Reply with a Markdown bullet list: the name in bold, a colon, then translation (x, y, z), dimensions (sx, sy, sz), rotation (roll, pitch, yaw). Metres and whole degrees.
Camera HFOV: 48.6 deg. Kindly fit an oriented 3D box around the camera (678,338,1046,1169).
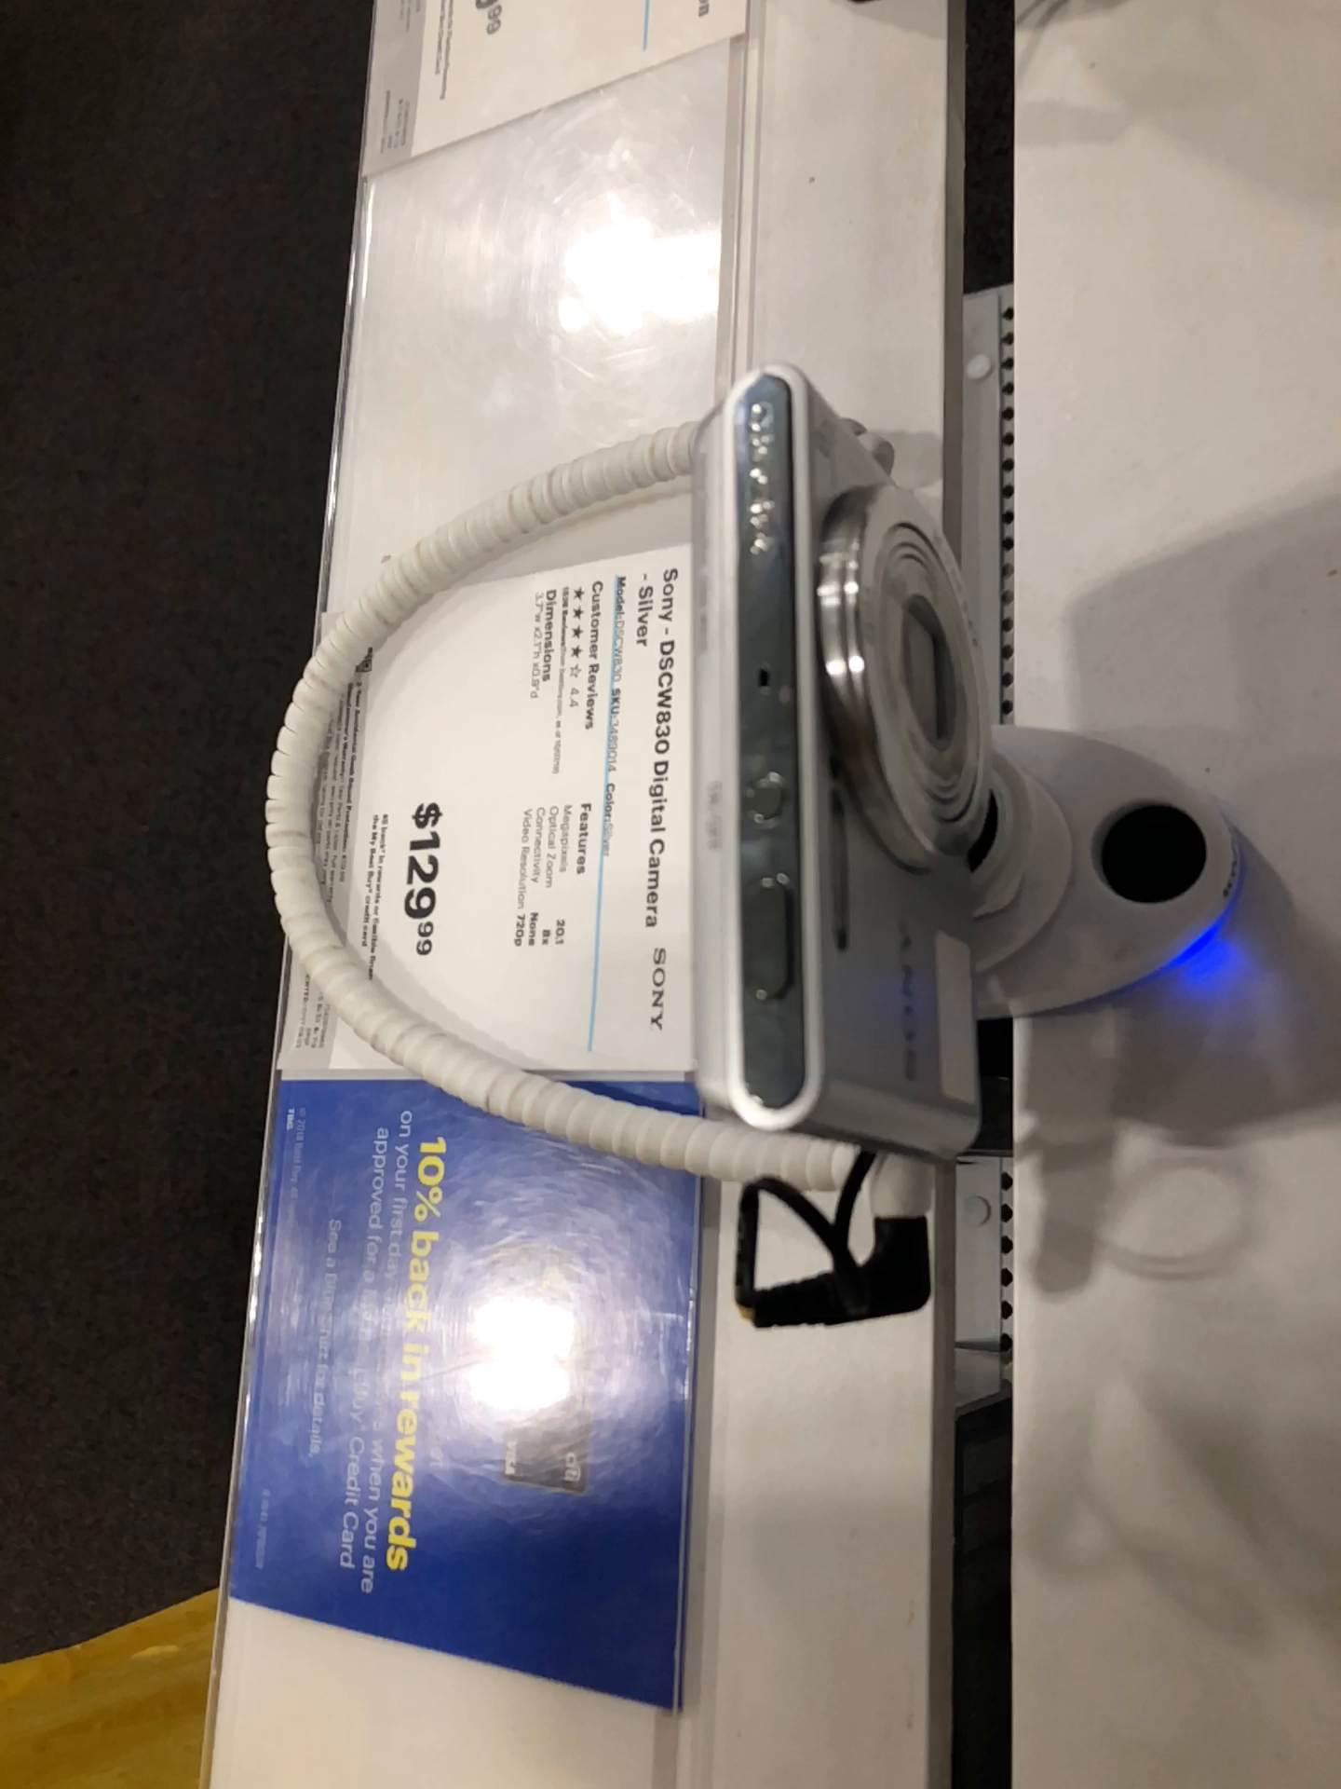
- **camera**: translation (0.027, -0.012, 0.194), dimensions (0.020, 0.070, 0.090), rotation (-7, 75, 29)
